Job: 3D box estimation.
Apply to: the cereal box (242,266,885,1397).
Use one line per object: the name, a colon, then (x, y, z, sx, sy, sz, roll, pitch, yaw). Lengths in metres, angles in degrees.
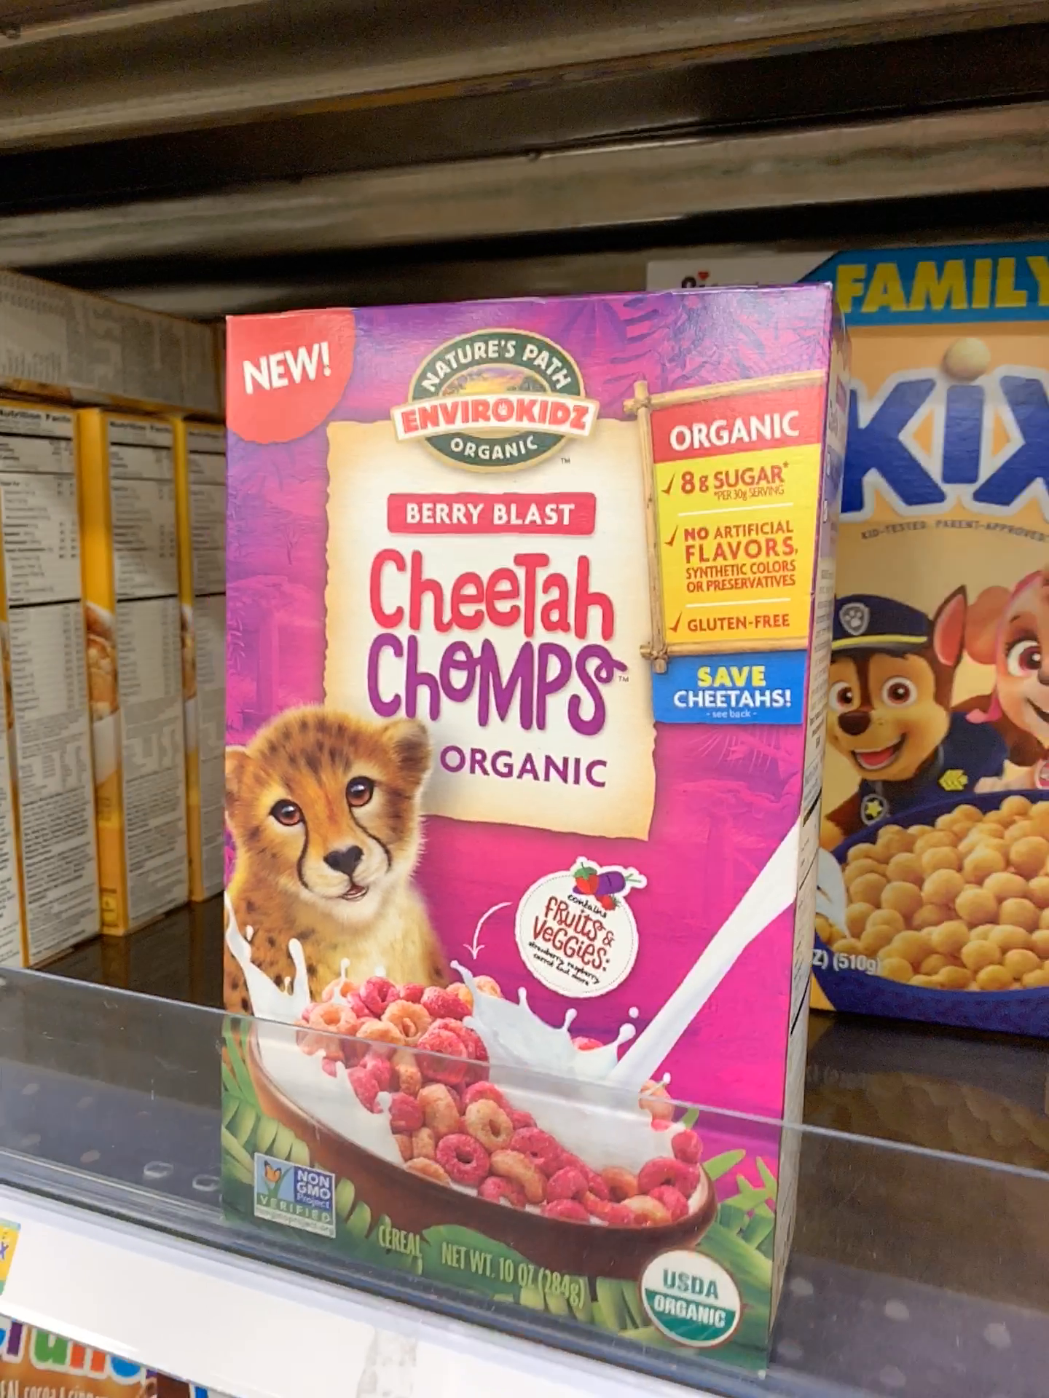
cereal box: (0.007, 0.031, 0.308, 0.160, 0.270, 0.060, 4, 6, 21)
